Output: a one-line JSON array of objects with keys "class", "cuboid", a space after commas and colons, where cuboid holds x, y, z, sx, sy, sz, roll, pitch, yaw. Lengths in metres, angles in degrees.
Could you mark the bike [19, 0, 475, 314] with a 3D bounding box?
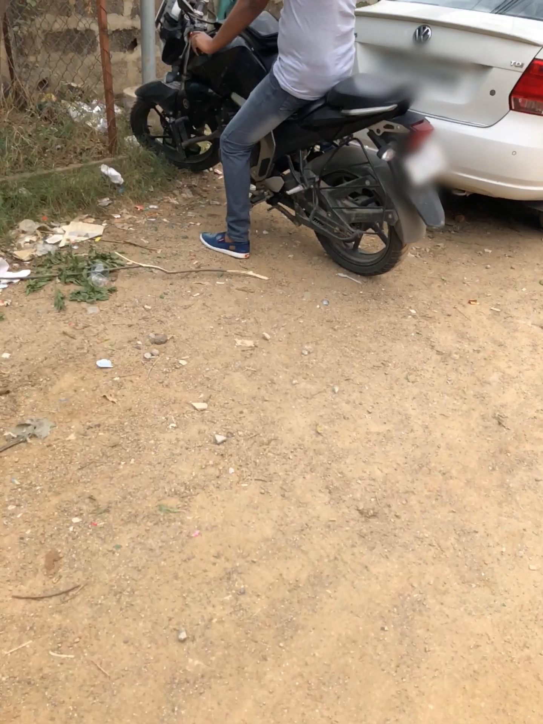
[{"class": "bike", "cuboid": [-0.172, -1.137, 2.407, 1.619, 1.095, 0.530, 30, 40, 23]}]
